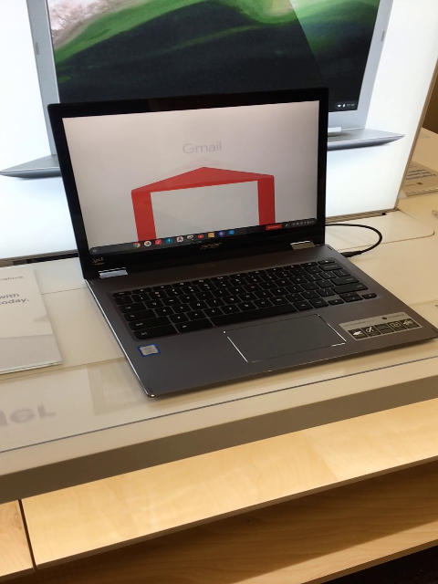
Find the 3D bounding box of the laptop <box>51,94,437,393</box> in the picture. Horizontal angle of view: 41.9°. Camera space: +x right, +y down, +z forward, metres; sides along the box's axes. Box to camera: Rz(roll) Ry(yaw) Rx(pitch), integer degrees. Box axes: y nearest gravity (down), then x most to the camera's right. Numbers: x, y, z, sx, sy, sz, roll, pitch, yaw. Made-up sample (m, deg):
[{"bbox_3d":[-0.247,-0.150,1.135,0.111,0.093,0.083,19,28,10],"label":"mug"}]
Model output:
[{"bbox_3d":[0.030,-0.072,0.617,0.320,0.202,0.271,-12,40,-18],"label":"laptop"}]
